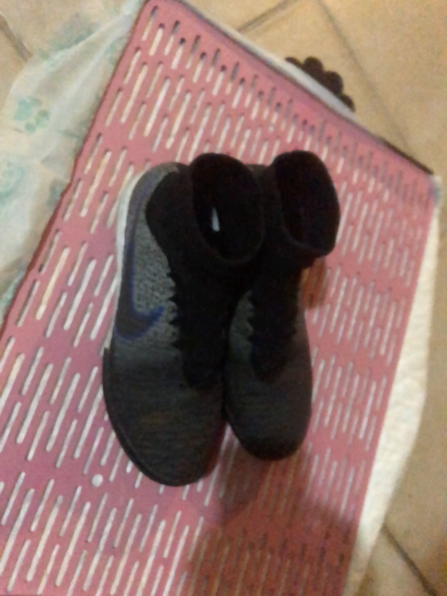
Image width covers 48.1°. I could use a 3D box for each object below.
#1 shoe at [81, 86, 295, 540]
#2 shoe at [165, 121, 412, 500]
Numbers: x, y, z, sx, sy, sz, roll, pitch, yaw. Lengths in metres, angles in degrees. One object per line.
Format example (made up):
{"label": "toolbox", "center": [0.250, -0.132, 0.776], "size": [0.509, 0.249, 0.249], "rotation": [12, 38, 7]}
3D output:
{"label": "shoe", "center": [-0.039, 0.010, 0.387], "size": [0.100, 0.149, 0.270], "rotation": [-1, 85, -27]}
{"label": "shoe", "center": [0.044, 0.008, 0.429], "size": [0.100, 0.149, 0.260], "rotation": [-9, 89, -27]}
